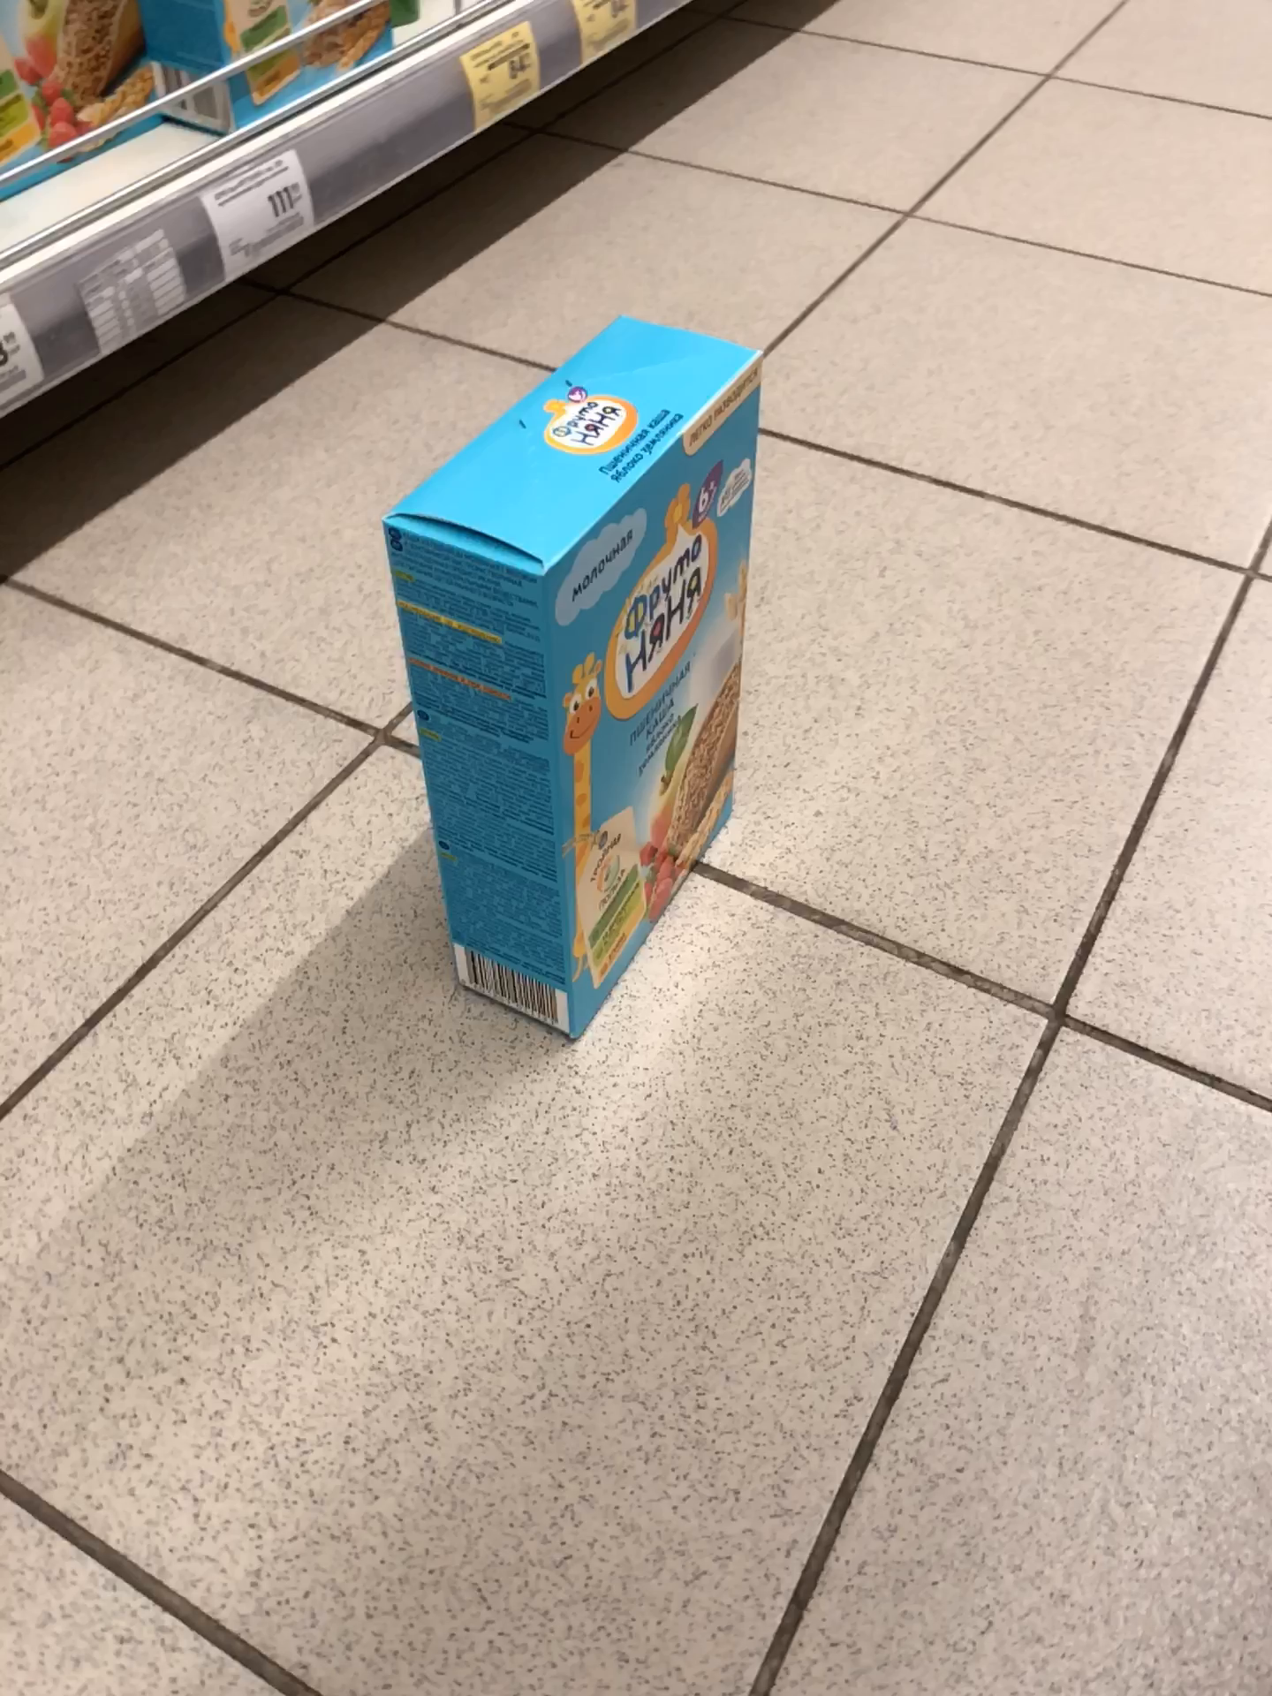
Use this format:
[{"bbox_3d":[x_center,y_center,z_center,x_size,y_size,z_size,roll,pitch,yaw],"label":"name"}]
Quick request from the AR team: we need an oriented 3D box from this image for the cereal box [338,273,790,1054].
[{"bbox_3d":[-0.014,-0.054,0.453,0.060,0.199,0.141,21,51,19],"label":"cereal box"}]
